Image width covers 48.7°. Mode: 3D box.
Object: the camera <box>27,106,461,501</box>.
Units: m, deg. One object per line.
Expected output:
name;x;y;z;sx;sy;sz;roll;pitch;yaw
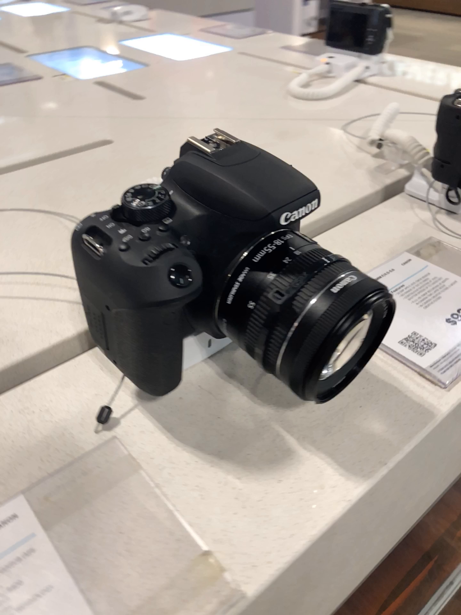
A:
camera;0.008;-0.019;0.253;0.140;0.099;0.131;-32;47;-33
